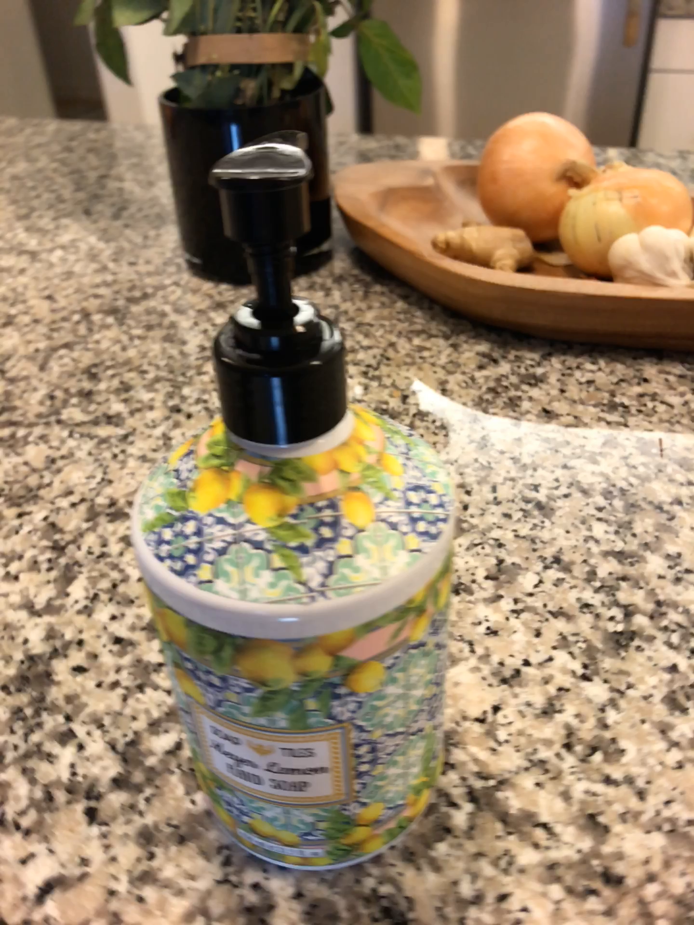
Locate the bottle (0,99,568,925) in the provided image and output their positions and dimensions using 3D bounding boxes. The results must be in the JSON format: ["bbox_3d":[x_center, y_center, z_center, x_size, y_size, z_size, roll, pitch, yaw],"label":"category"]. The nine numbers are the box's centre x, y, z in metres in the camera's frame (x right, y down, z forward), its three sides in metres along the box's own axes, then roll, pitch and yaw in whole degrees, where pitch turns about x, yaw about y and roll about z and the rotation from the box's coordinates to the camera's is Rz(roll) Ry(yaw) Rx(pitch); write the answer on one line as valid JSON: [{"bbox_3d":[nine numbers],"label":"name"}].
[{"bbox_3d":[-0.004,0.022,0.202,0.090,0.199,0.091,-2,36,1],"label":"bottle"}]
